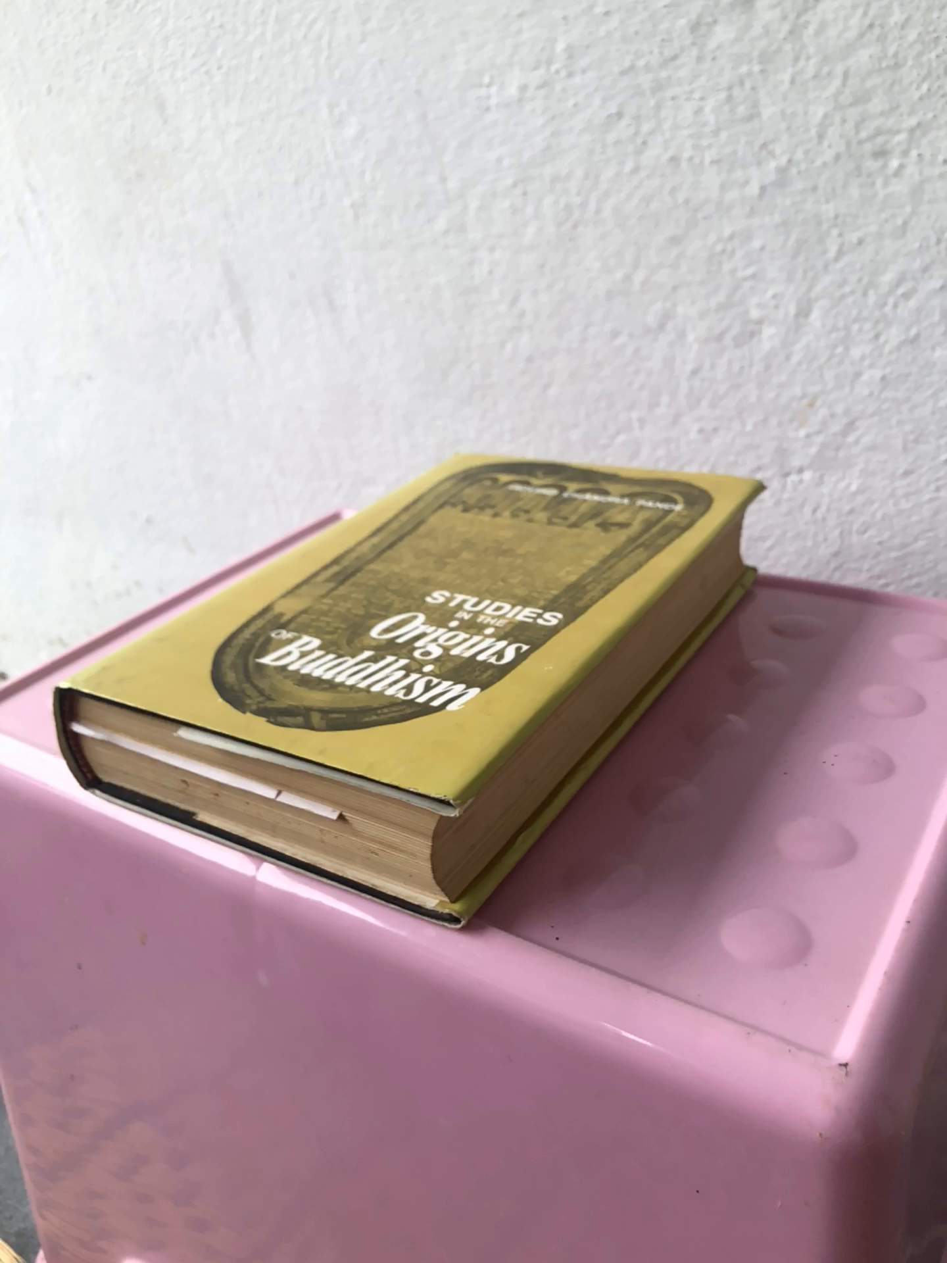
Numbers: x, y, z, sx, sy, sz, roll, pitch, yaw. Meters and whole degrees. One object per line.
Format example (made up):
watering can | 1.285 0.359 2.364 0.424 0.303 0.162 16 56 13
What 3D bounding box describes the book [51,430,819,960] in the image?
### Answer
book | 0.007 -0.007 0.366 0.150 0.040 0.241 13 33 31
